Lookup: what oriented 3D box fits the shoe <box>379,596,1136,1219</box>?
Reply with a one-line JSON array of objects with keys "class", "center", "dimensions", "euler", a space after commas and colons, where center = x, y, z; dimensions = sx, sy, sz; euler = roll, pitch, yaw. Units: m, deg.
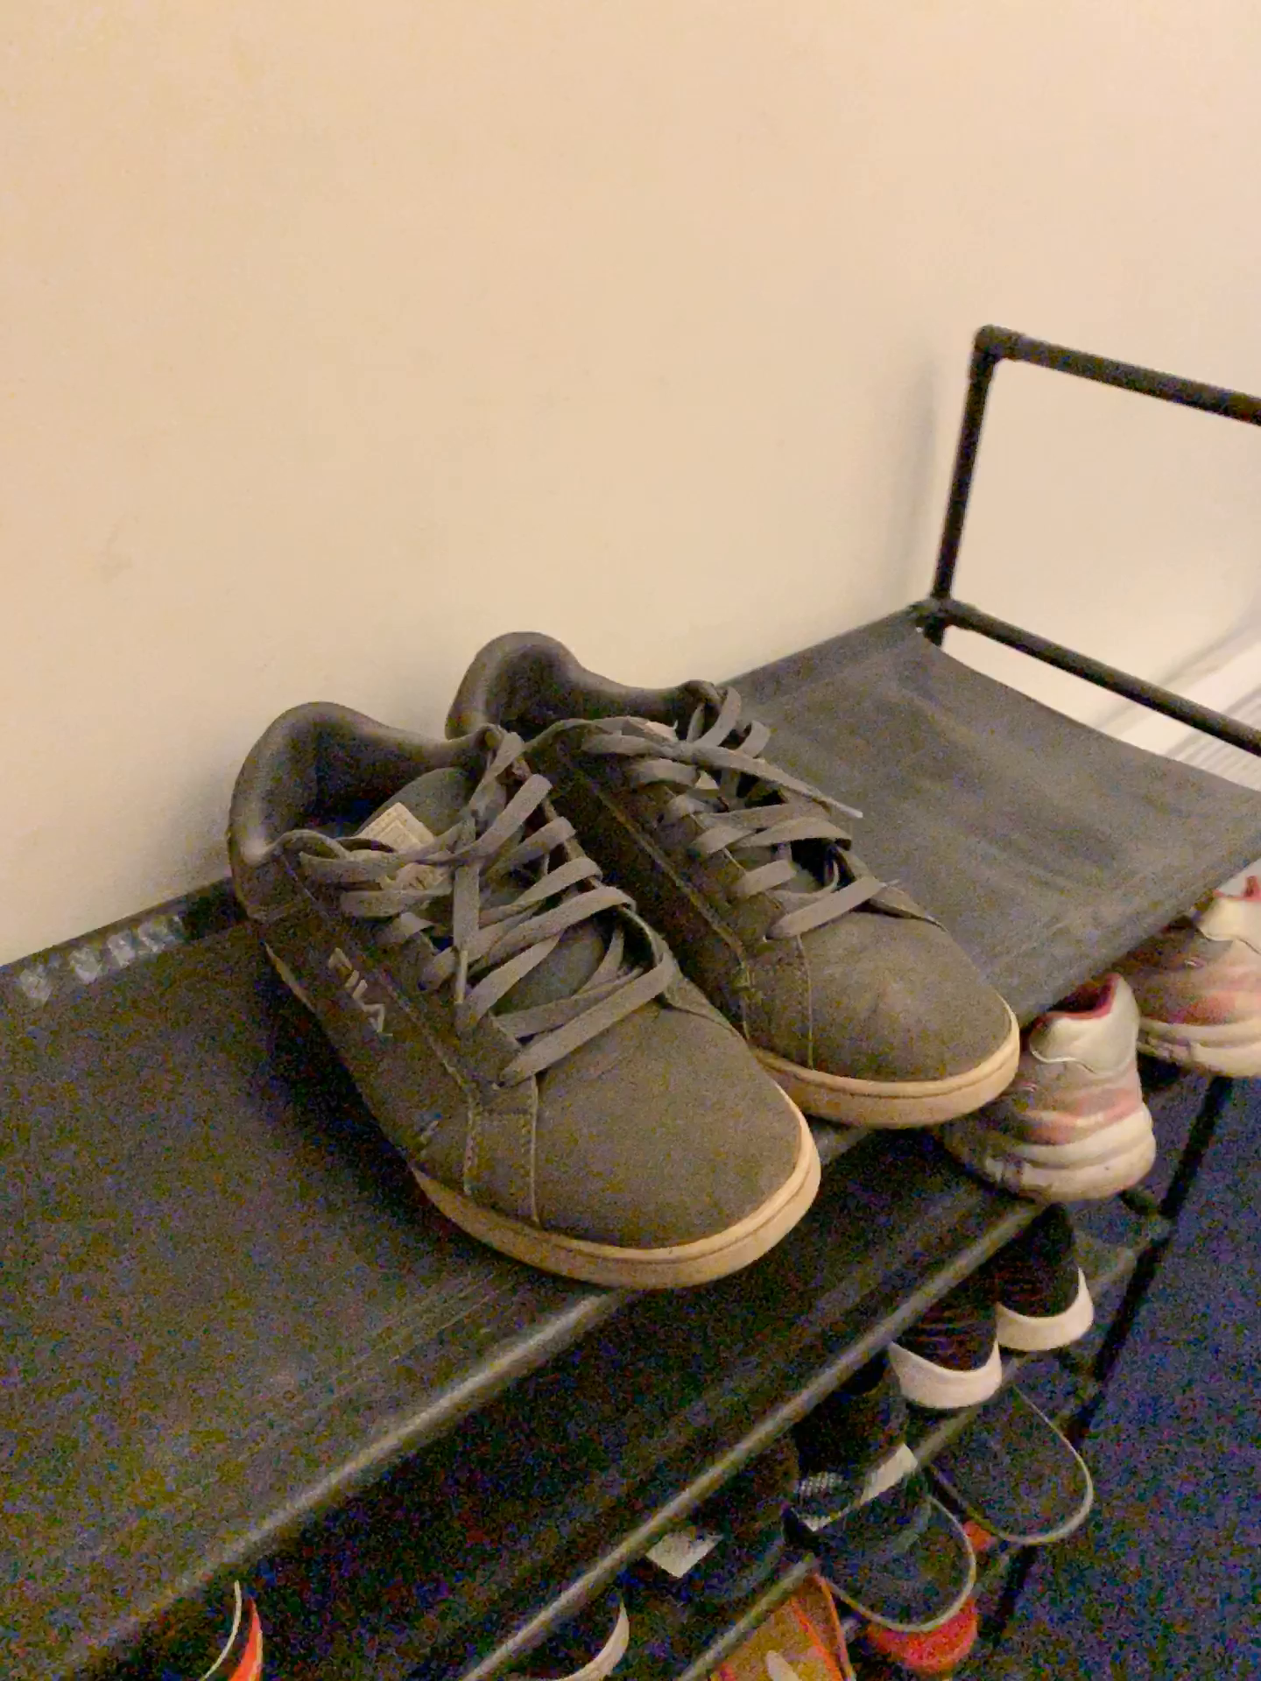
[{"class": "shoe", "center": [0.031, 0.002, 0.530], "dimensions": [0.121, 0.079, 0.301], "euler": [-26, 42, -30]}]

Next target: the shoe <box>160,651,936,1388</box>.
[{"class": "shoe", "center": [-0.043, 0.035, 0.452], "dimensions": [0.121, 0.079, 0.271], "euler": [-26, 42, -30]}]
